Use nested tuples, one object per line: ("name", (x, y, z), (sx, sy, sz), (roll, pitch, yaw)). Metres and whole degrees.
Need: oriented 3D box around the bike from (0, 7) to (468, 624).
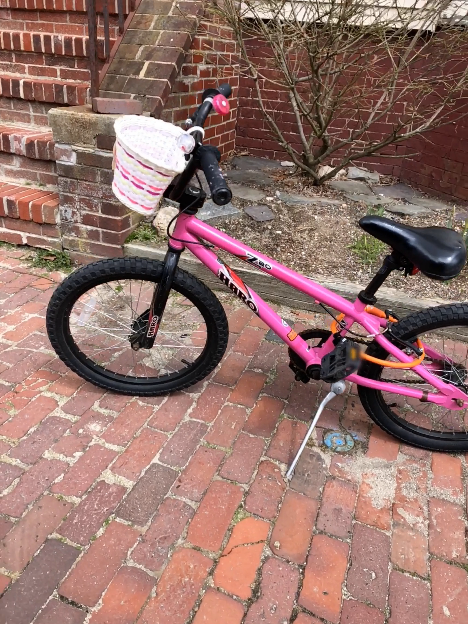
("bike", (0.154, -0.015, 1.132), (1.337, 0.906, 0.715), (9, 28, 4))
